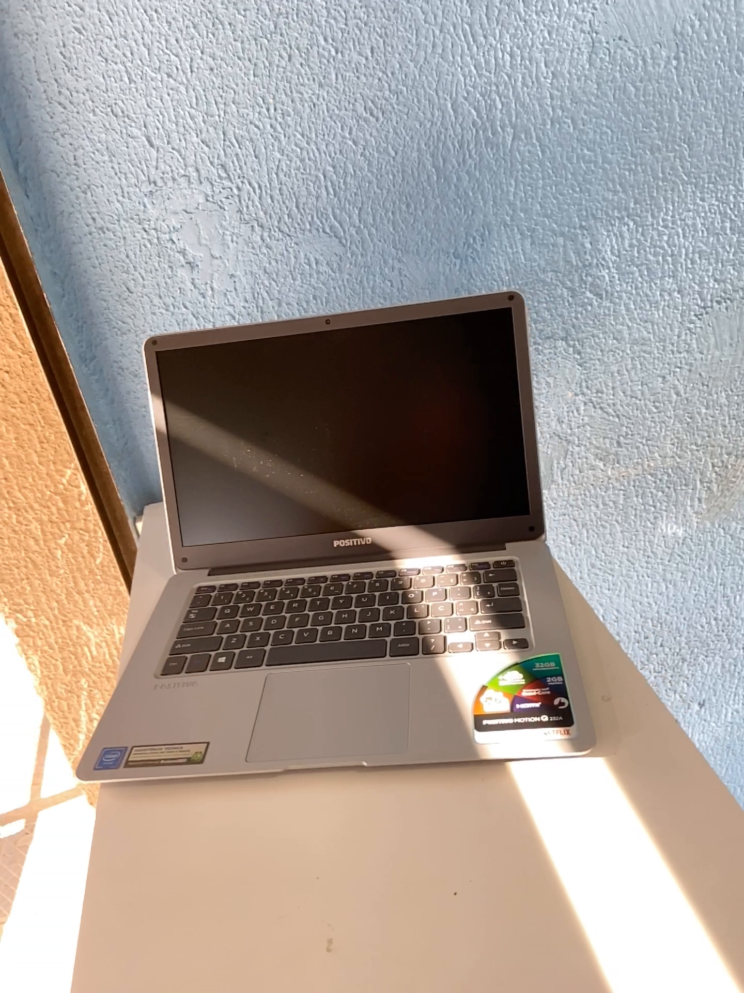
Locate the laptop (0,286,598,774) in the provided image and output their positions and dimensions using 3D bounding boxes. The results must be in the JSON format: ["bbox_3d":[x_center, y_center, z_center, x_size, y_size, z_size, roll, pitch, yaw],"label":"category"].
[{"bbox_3d":[-0.036,0.002,0.565,0.332,0.189,0.313,-5,30,7],"label":"laptop"}]
